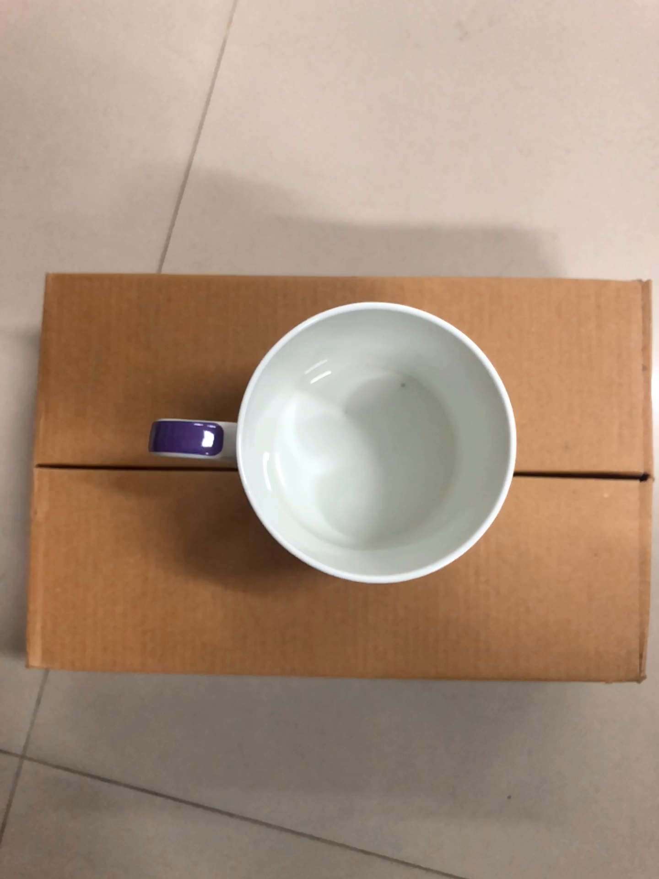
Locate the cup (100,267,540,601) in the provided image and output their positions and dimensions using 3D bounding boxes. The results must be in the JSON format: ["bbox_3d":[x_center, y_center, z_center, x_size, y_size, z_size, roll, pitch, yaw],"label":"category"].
[{"bbox_3d":[-0.002,0.000,0.252,0.120,0.090,0.090,2,86,1],"label":"cup"}]
